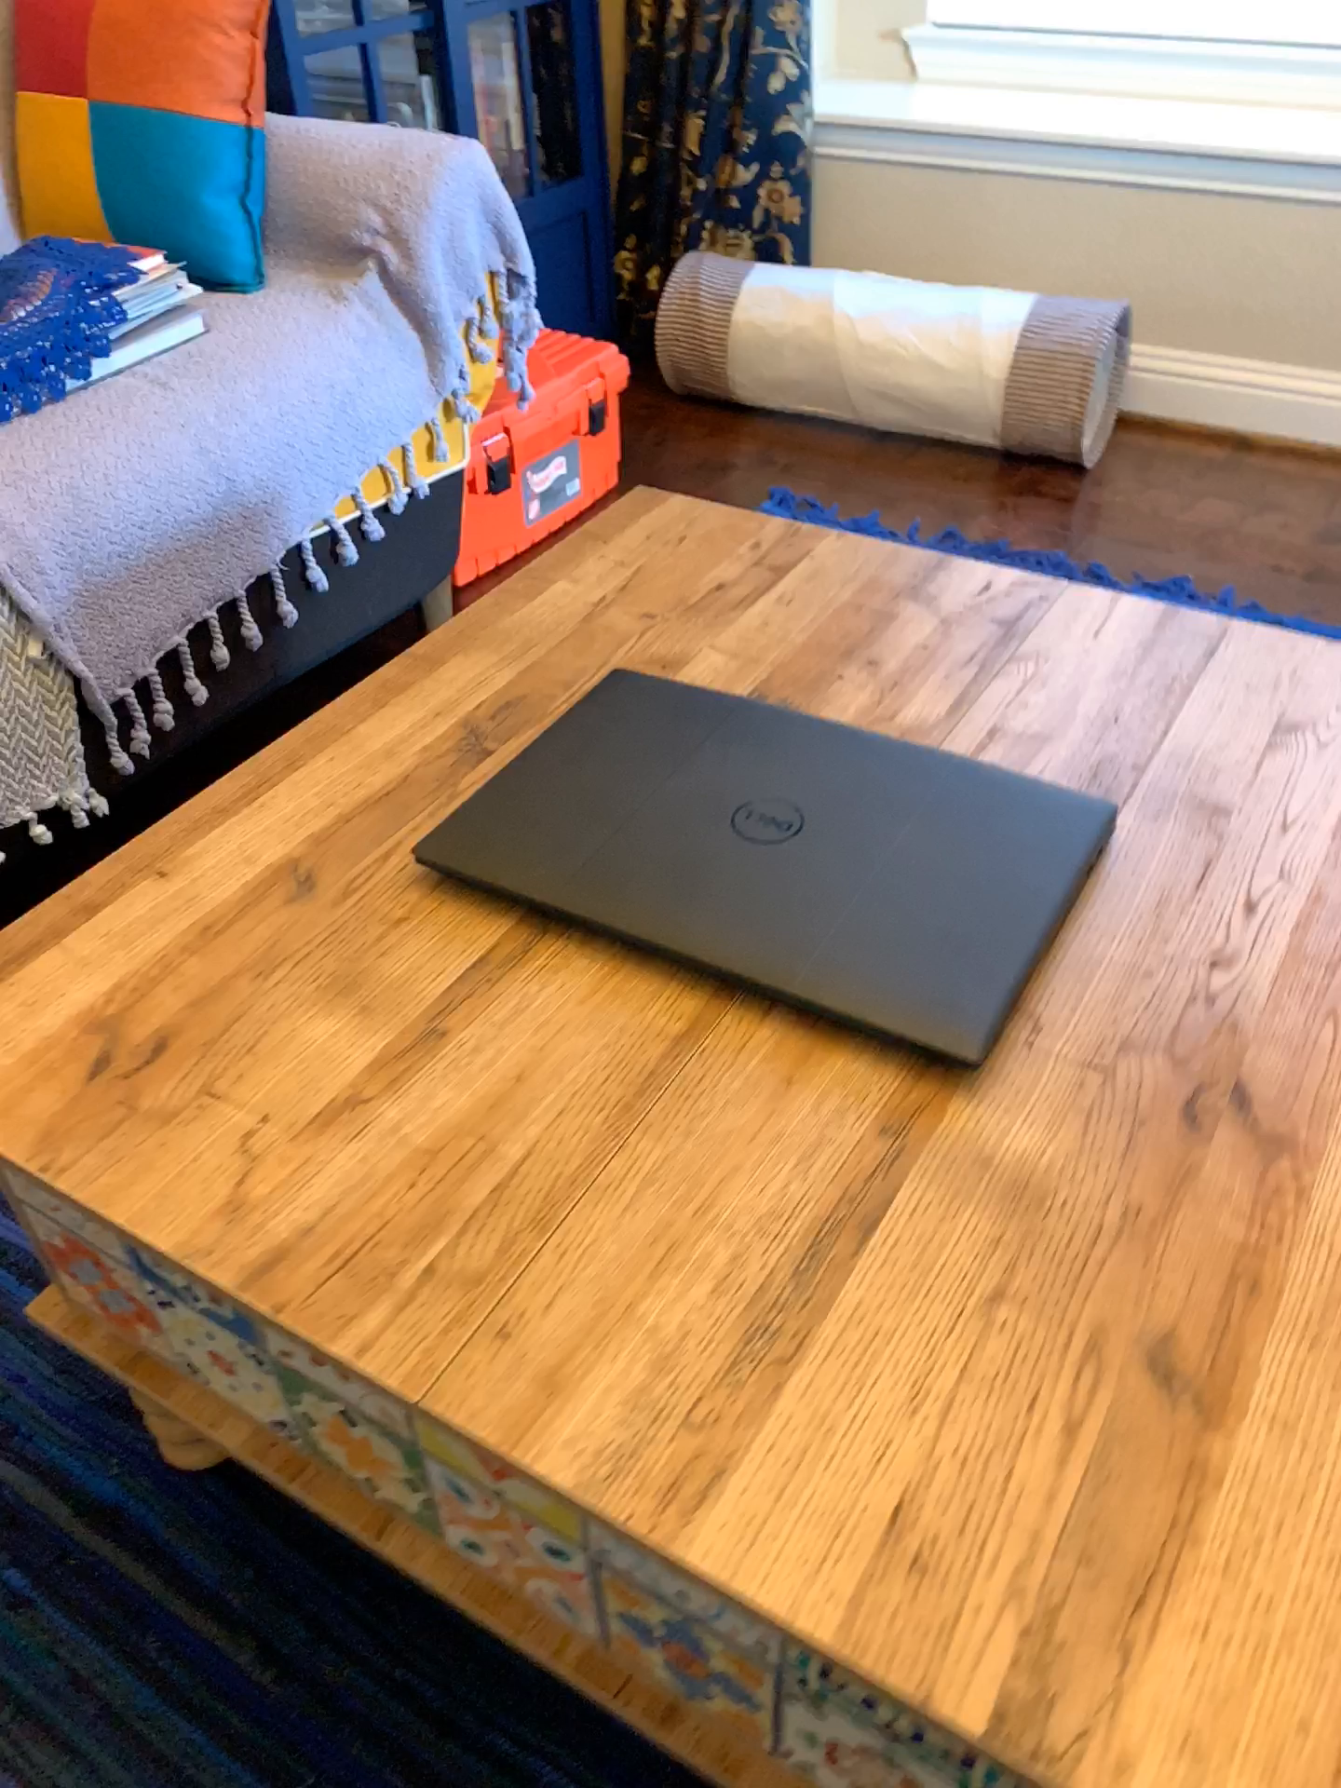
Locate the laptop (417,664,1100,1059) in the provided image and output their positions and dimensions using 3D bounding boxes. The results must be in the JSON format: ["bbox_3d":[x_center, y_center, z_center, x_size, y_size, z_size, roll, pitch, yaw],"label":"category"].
[{"bbox_3d":[0.053,-0.040,0.816,0.346,0.001,0.228,20,45,24],"label":"laptop"}]
